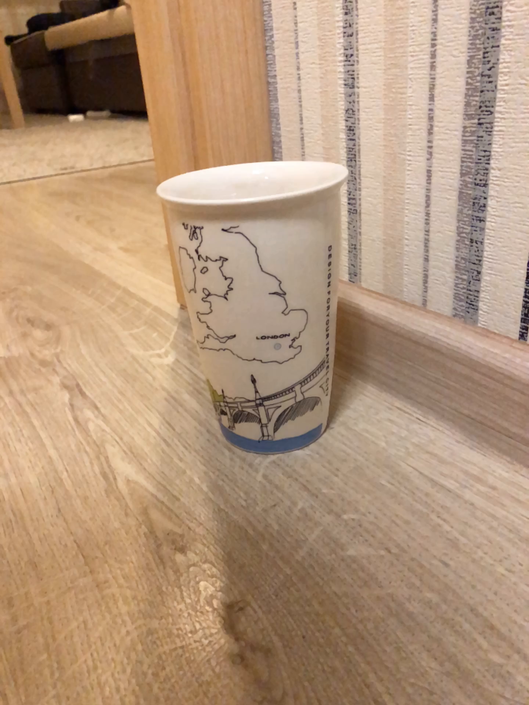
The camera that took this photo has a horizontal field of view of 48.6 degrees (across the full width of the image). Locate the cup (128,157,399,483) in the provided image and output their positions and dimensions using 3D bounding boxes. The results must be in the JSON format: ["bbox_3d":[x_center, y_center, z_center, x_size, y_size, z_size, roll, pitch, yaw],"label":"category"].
[{"bbox_3d":[0.009,-0.025,0.305,0.097,0.133,0.096,-4,26,2],"label":"cup"}]
